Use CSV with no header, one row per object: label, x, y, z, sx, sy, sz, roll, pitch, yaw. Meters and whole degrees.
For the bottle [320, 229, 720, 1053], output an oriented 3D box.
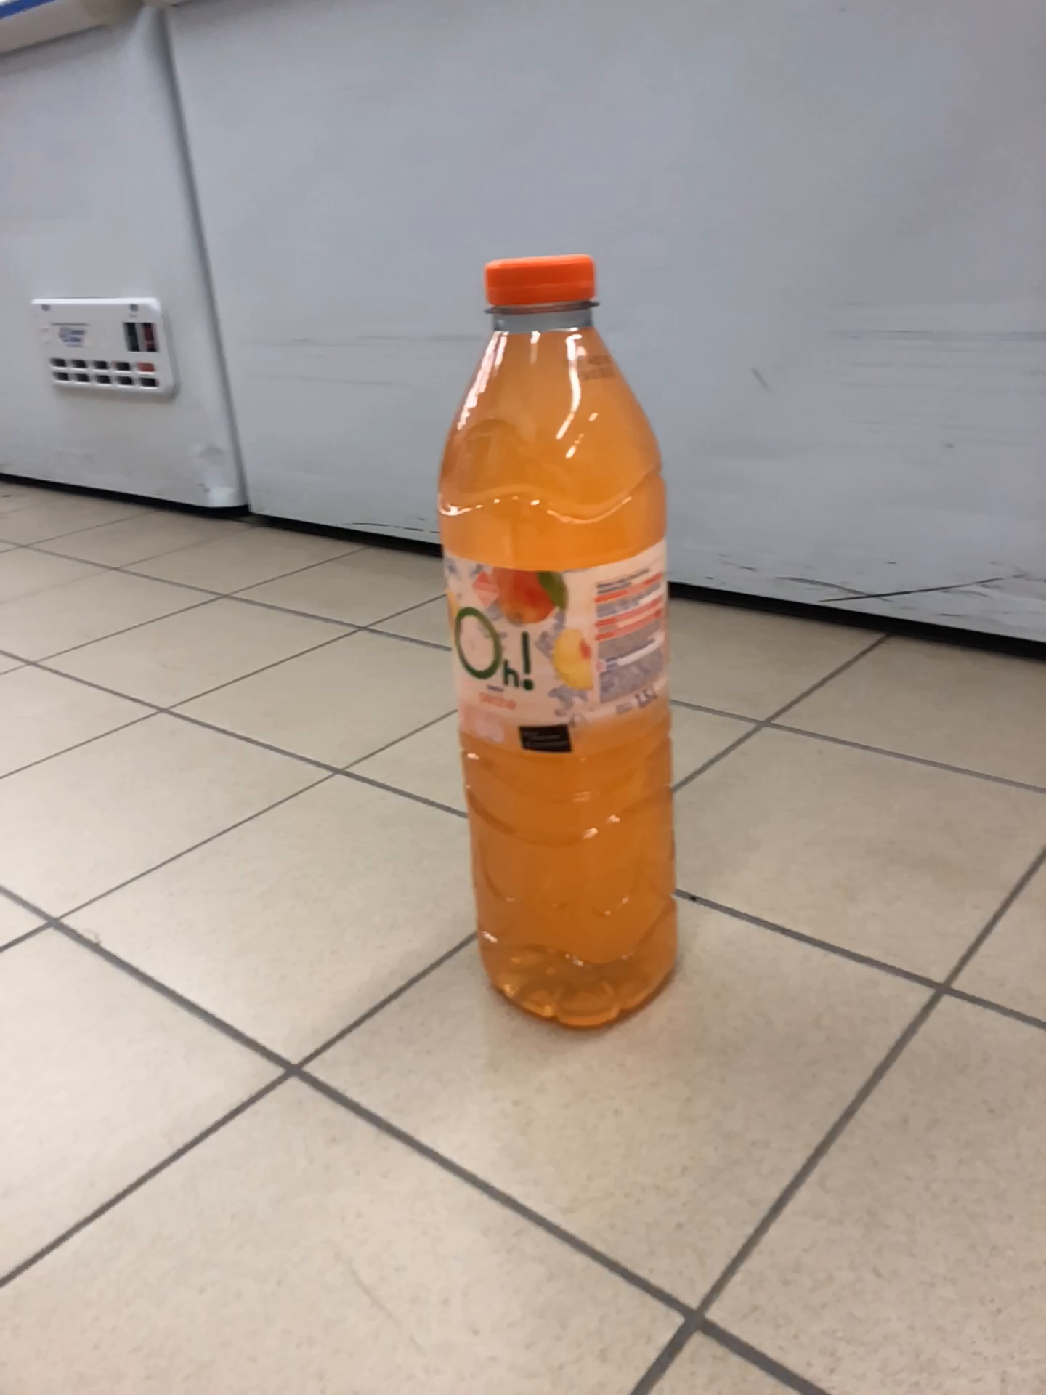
bottle,0.009,-0.024,0.464,0.100,0.299,0.101,-4,22,2
